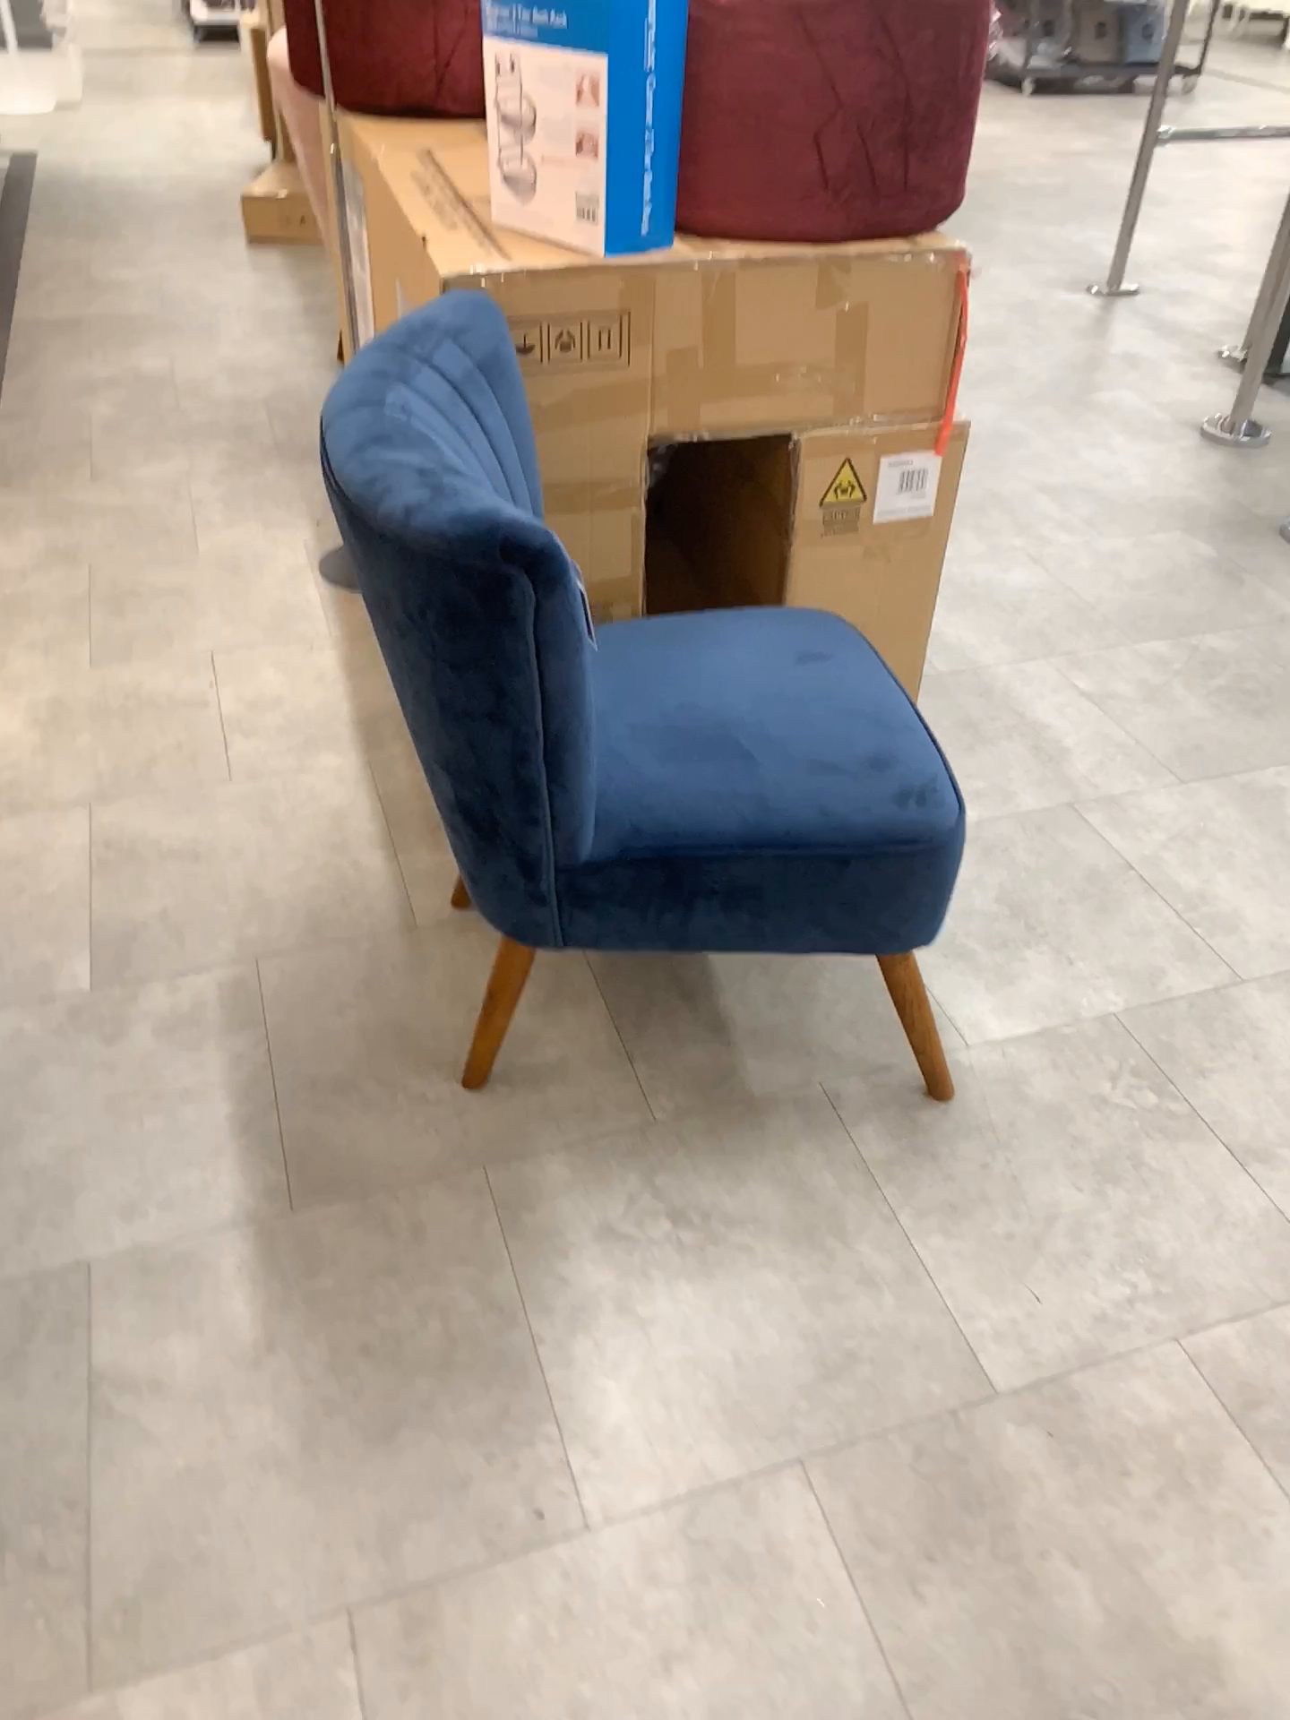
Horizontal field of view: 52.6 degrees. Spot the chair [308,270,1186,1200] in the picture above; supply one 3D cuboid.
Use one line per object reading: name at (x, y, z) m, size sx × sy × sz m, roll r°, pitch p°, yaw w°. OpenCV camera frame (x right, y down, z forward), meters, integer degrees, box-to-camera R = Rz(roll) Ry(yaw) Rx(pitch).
chair at (0.025, -0.184, 1.565) m, size 0.720 × 0.792 × 0.697 m, roll -7°, pitch 39°, yaw -12°
